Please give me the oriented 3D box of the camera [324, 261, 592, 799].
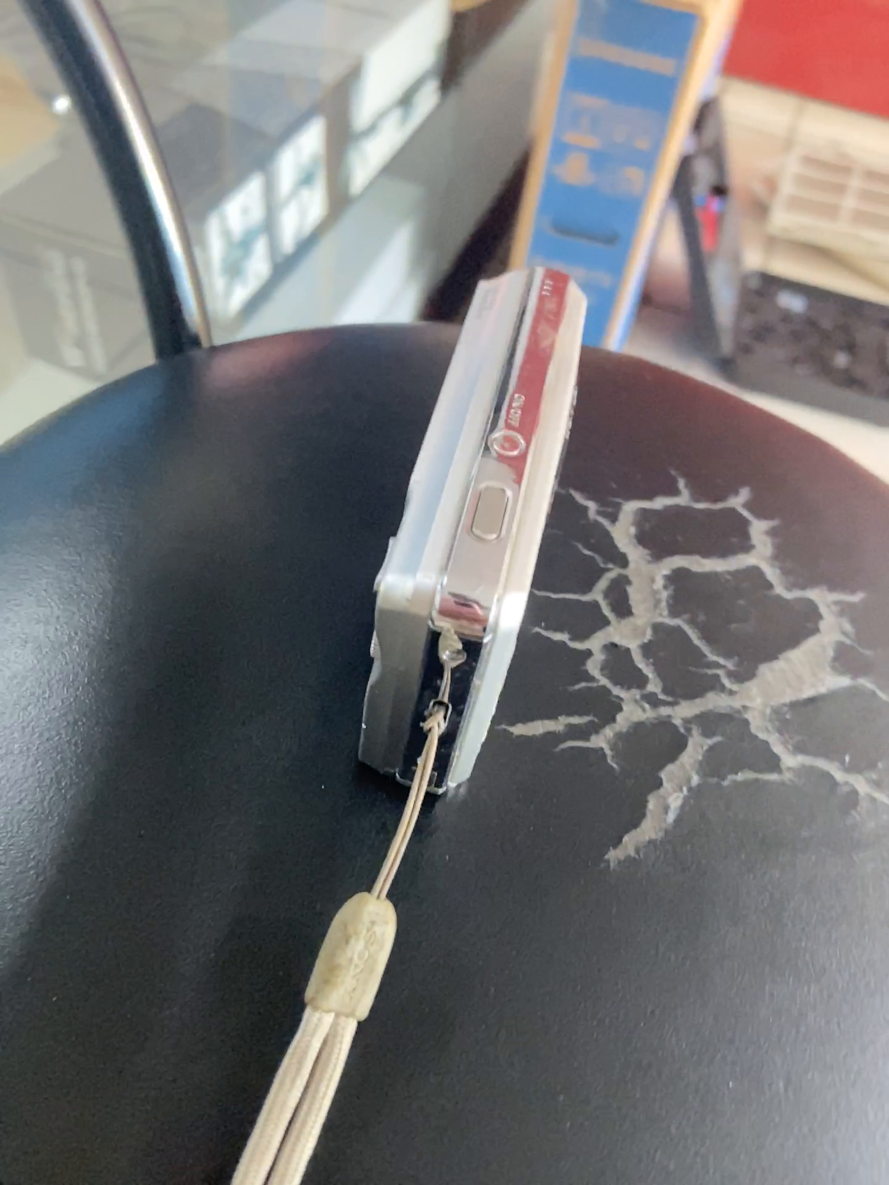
[{"bbox_3d":[0.004,-0.016,0.175,0.026,0.044,0.093,14,49,3],"label":"camera"}]
